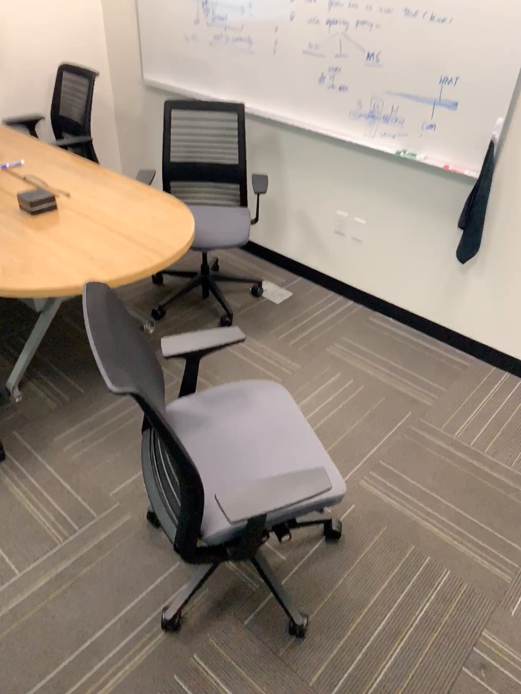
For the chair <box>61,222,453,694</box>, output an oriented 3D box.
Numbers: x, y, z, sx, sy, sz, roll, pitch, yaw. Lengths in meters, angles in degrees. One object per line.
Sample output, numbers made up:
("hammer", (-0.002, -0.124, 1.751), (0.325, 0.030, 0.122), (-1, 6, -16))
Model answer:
("chair", (-0.079, 0.291, 1.479), (0.690, 0.996, 0.653), (-11, 39, -17))
